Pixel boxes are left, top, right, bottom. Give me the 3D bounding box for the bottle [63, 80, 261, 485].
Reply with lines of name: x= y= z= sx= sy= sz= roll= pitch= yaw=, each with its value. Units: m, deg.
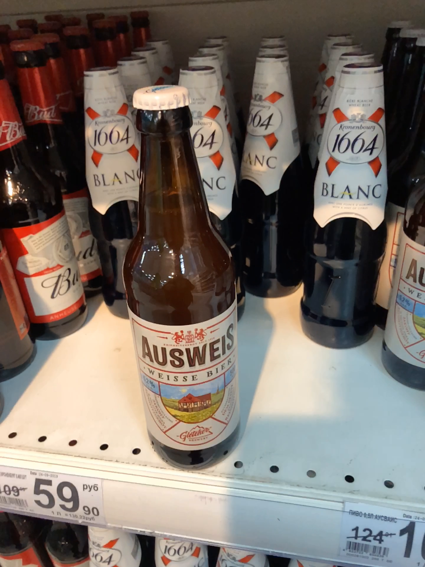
bottle: x=-0.022 y=0.010 z=0.284 sx=0.080 sy=0.229 sz=0.070 roll=-11 pitch=33 yaw=-10
